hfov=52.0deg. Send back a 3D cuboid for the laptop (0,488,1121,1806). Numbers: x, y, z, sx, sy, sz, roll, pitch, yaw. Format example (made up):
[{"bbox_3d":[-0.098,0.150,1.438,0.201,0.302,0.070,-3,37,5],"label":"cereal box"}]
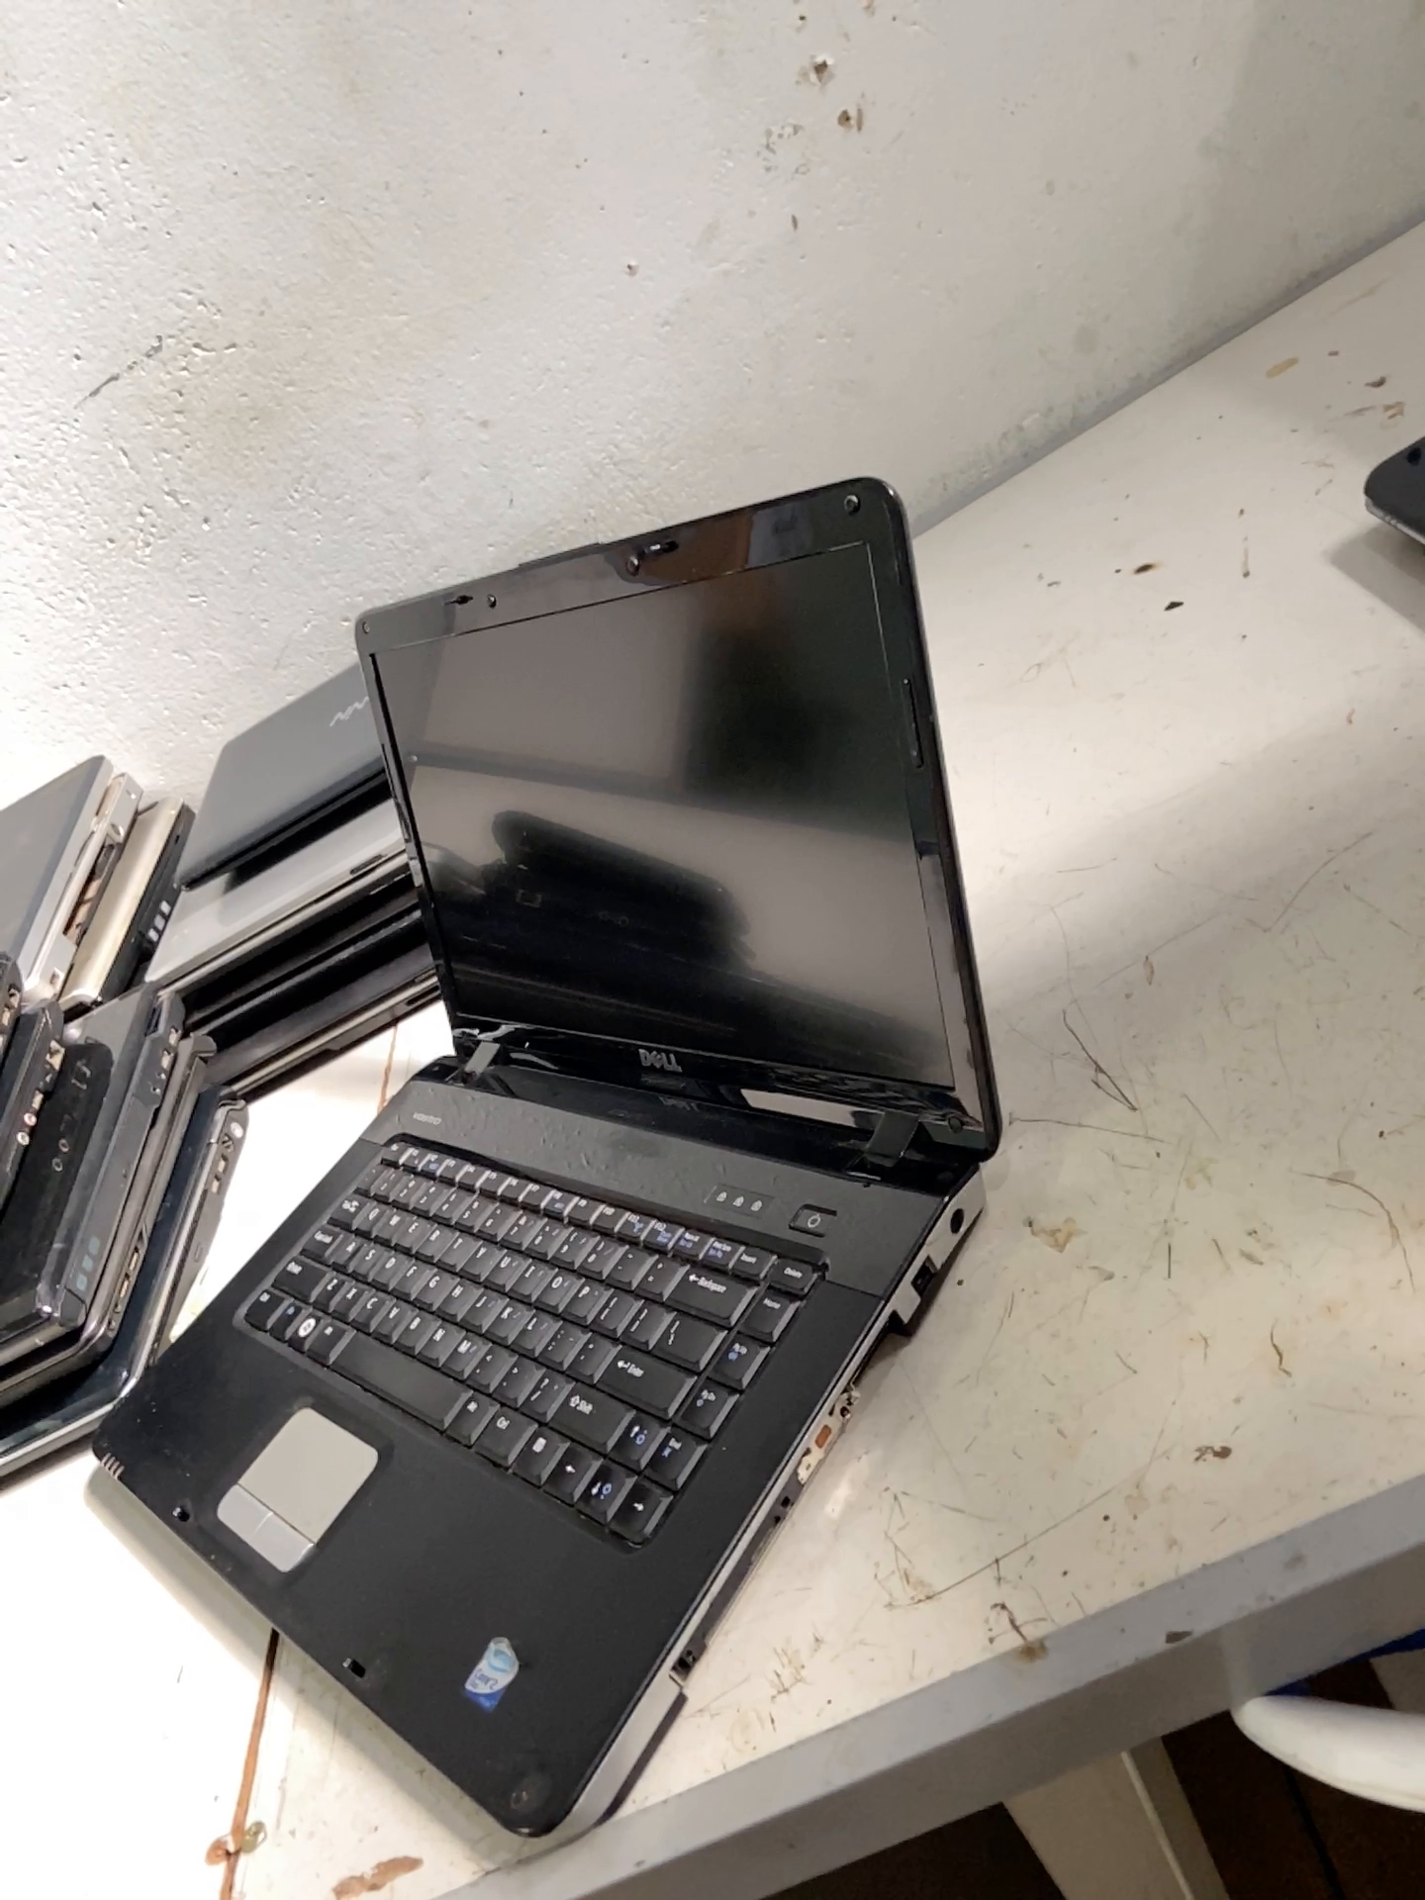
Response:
[{"bbox_3d":[-0.114,0.038,0.577,0.366,0.203,0.353,3,45,50],"label":"laptop"}]
